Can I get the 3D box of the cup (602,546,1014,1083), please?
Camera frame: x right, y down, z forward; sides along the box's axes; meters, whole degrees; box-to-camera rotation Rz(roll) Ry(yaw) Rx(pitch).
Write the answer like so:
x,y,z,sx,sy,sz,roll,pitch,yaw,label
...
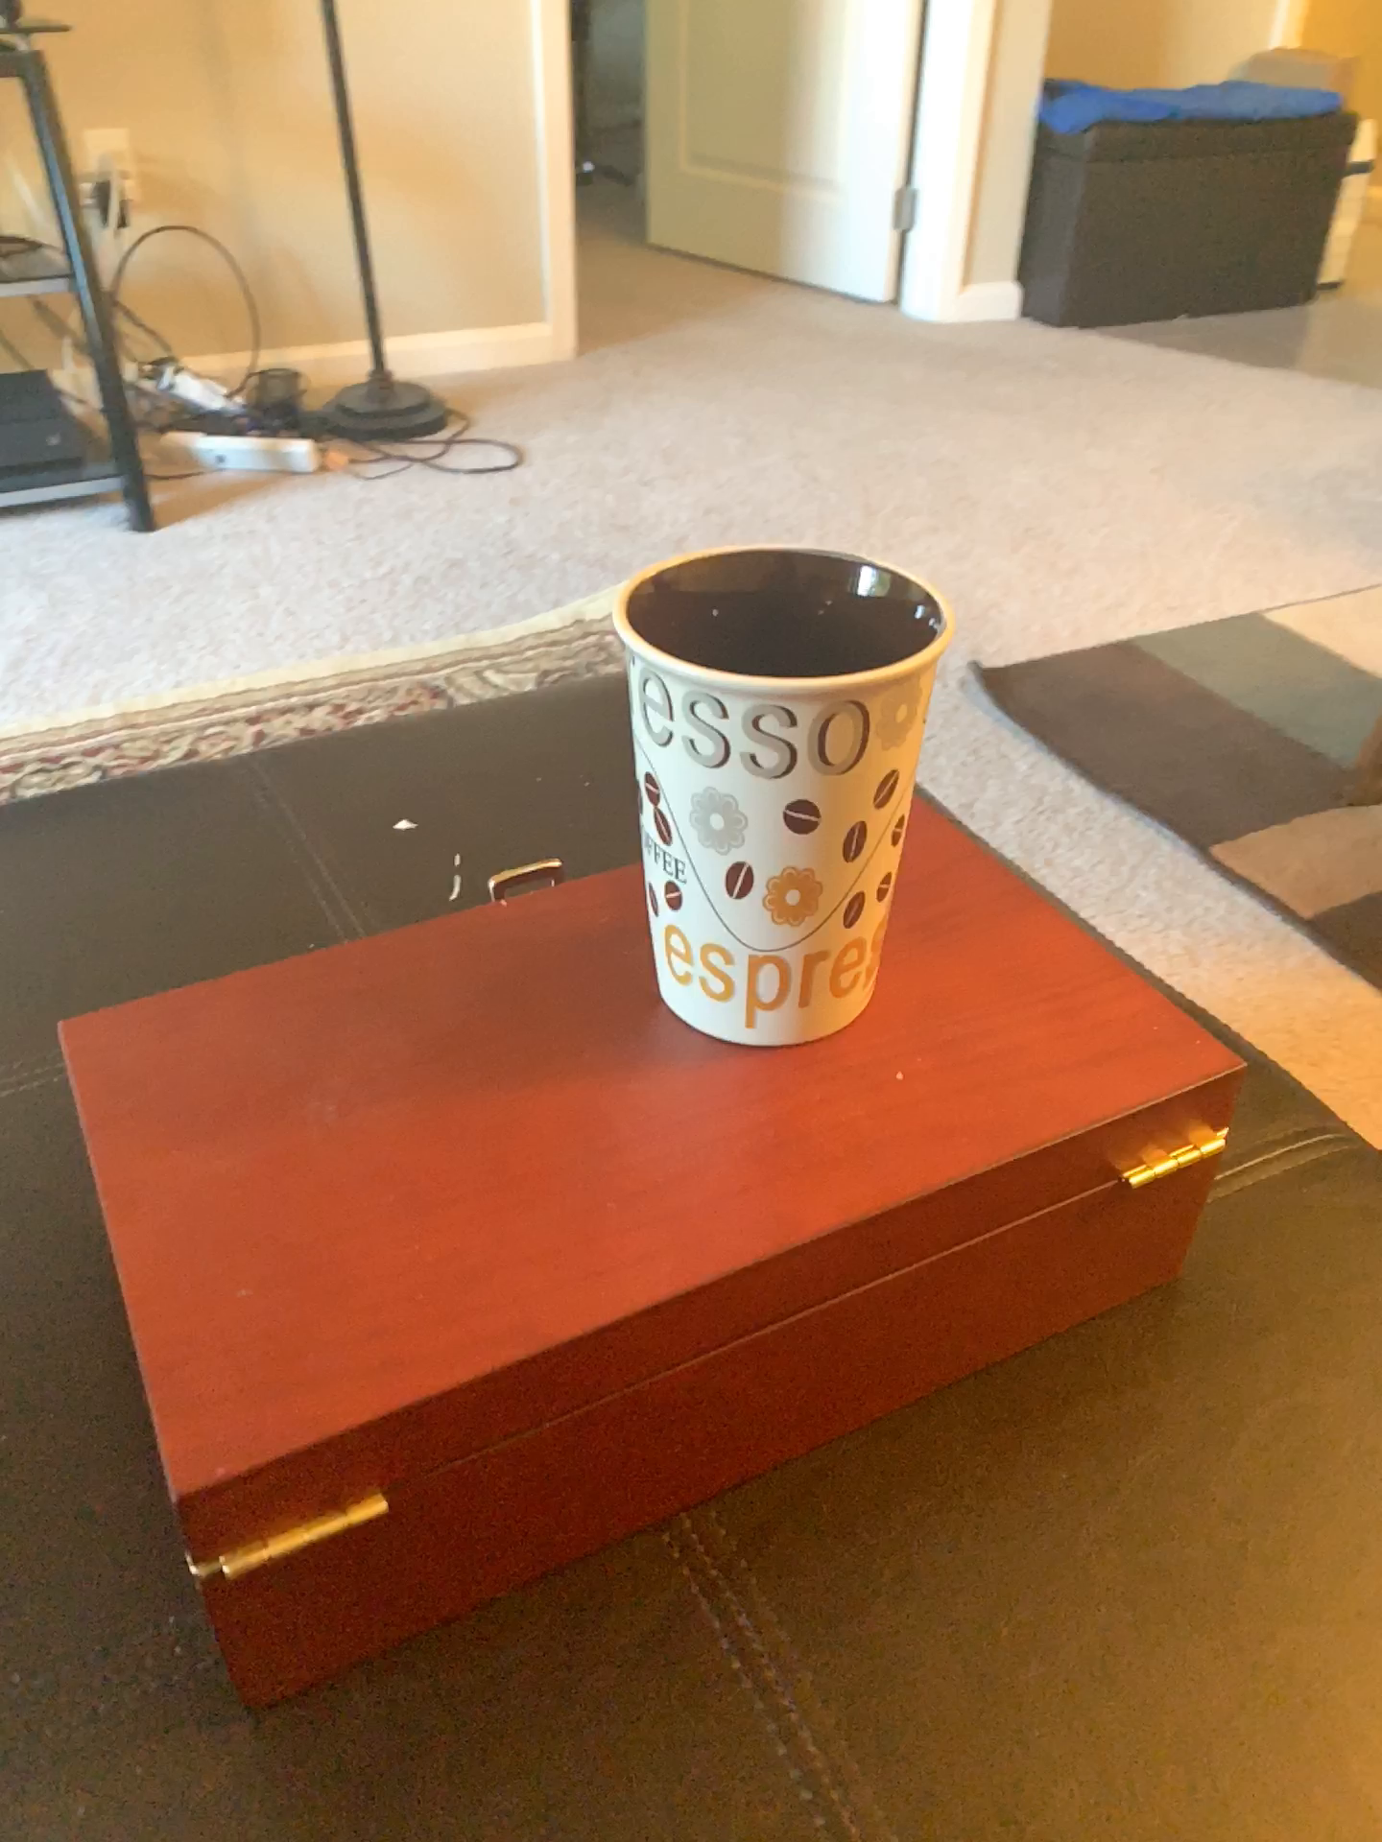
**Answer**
x,y,z,sx,sy,sz,roll,pitch,yaw,label
0.024,-0.032,0.397,0.090,0.109,0.101,-3,36,-6,cup
